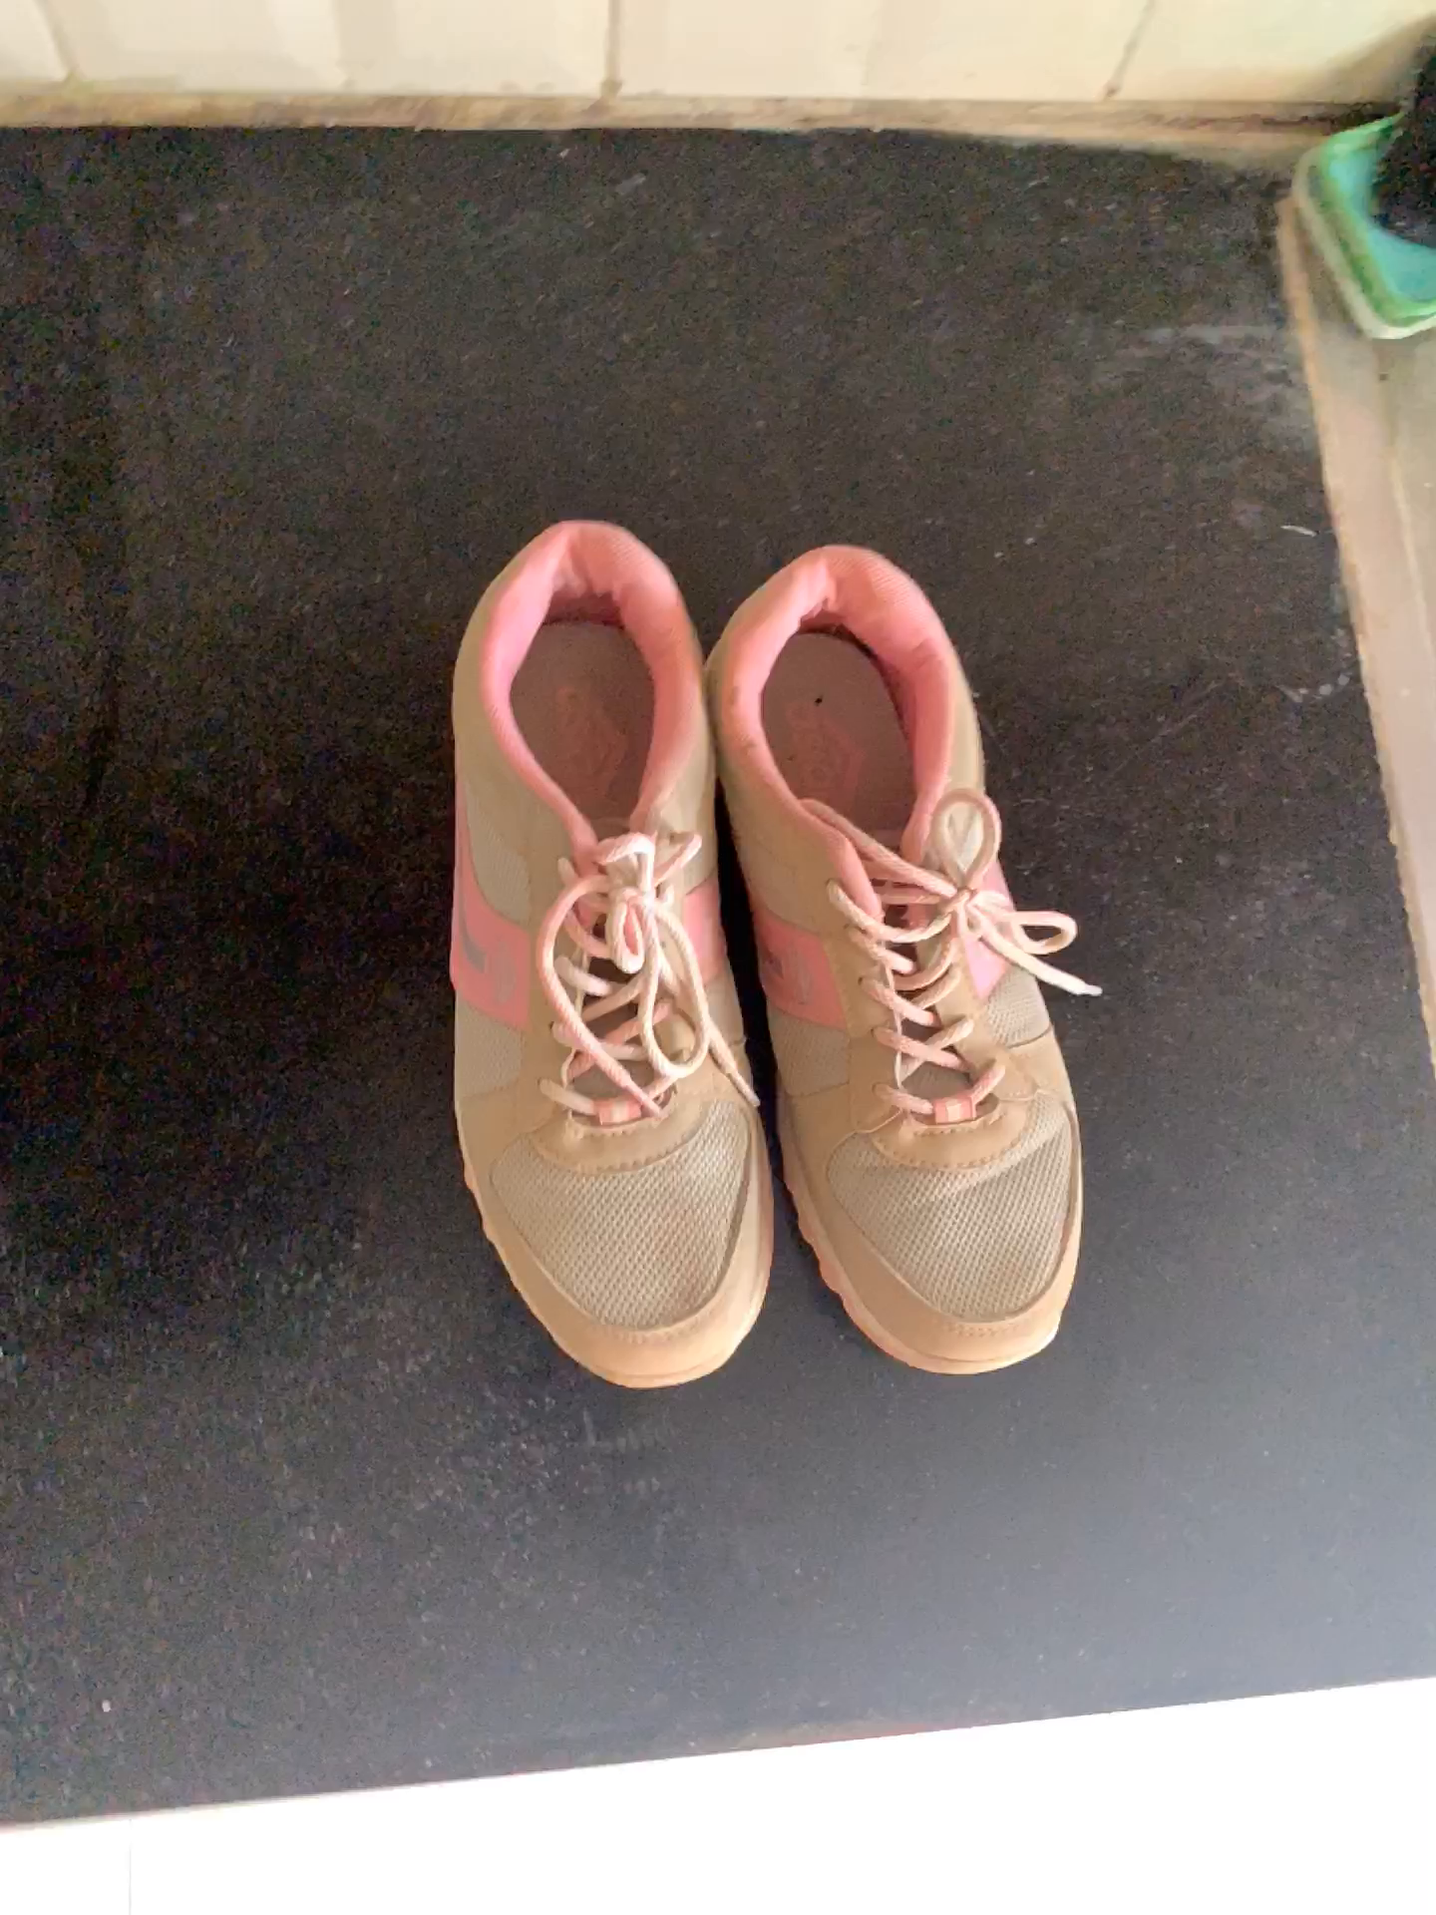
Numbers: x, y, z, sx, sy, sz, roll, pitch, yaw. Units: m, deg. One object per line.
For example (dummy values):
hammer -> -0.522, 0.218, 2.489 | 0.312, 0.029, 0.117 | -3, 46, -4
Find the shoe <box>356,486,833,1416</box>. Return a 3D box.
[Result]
shoe -> -0.040, -0.001, 0.434 | 0.100, 0.100, 0.240 | -6, 78, -6

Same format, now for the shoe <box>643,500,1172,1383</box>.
shoe -> 0.045, -0.002, 0.444 | 0.090, 0.100, 0.230 | -10, 79, -7
